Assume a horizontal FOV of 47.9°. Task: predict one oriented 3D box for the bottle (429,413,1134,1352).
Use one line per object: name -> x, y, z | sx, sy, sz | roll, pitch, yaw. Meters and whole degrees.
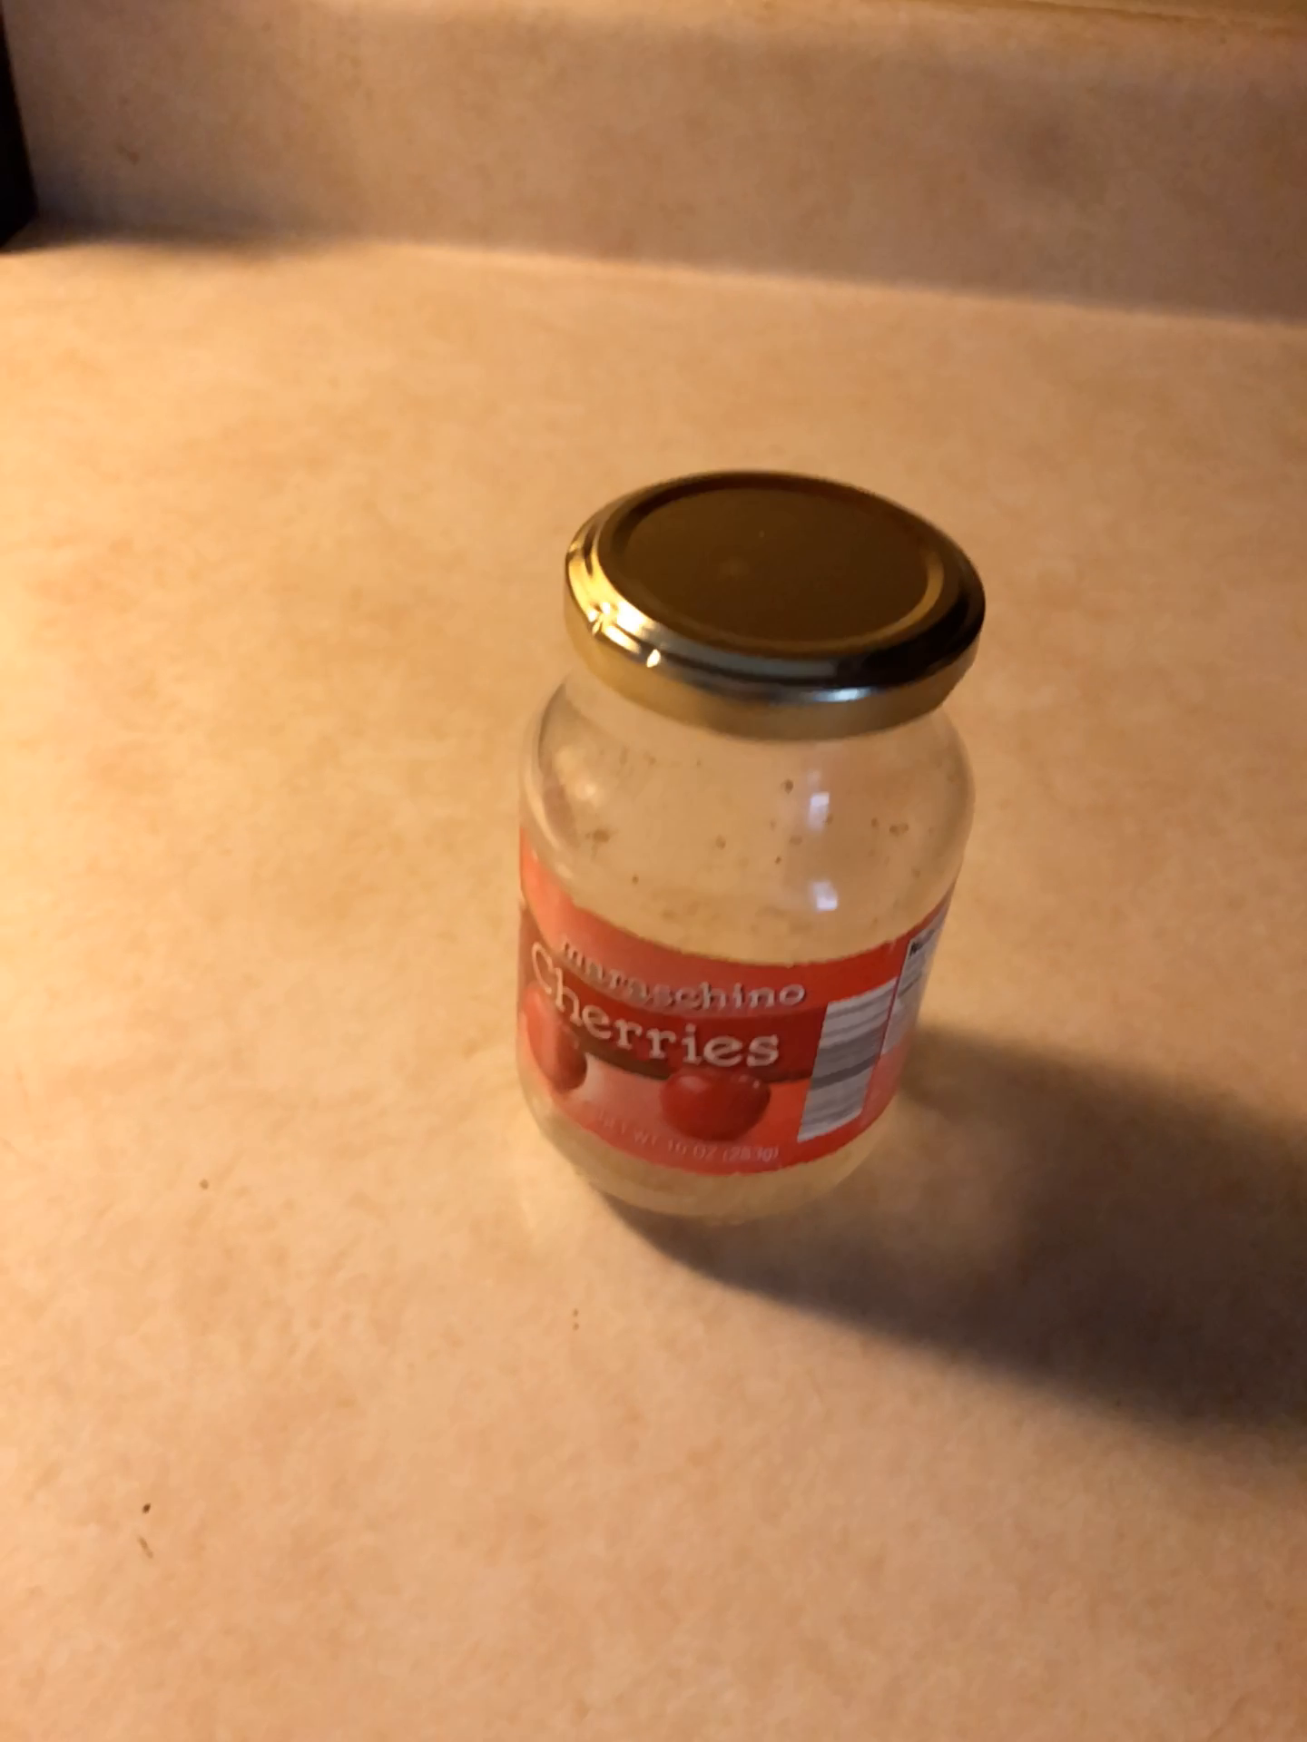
bottle -> 0.016, 0.002, 0.230 | 0.070, 0.110, 0.070 | 3, 41, -2
